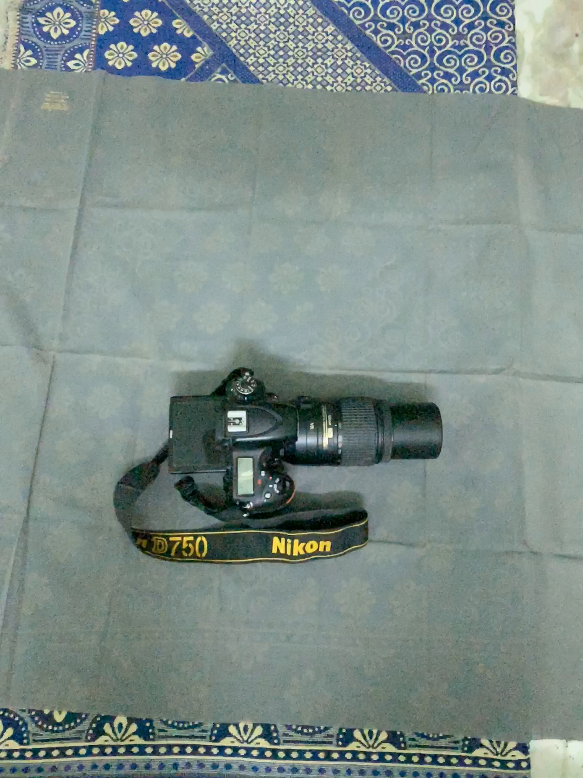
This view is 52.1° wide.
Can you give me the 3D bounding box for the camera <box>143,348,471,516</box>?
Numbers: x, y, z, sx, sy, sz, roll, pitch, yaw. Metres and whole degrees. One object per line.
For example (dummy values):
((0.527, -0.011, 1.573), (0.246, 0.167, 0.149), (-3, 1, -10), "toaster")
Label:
((0.015, 0.048, 0.593), (0.288, 0.110, 0.147), (1, 77, 1), "camera")
